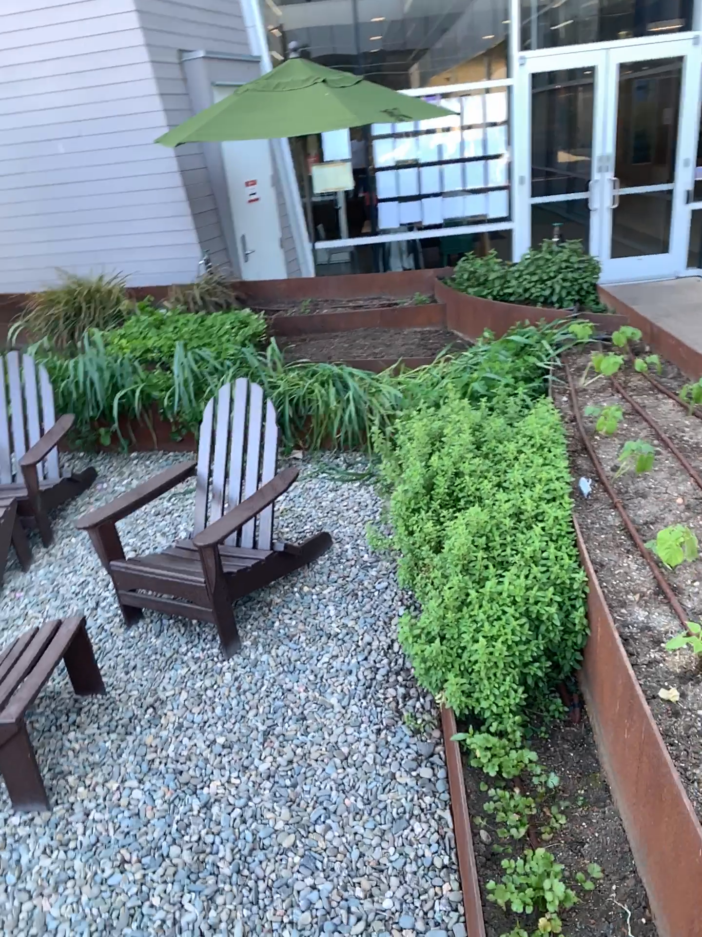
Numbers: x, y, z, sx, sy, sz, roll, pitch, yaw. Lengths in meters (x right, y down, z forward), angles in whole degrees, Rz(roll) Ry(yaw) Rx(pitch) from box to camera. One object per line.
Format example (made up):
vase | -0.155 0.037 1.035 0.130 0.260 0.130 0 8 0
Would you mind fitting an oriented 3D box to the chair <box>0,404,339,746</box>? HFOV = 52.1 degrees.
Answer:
chair | -0.810 0.400 3.408 1.005 0.995 1.000 15 32 38
